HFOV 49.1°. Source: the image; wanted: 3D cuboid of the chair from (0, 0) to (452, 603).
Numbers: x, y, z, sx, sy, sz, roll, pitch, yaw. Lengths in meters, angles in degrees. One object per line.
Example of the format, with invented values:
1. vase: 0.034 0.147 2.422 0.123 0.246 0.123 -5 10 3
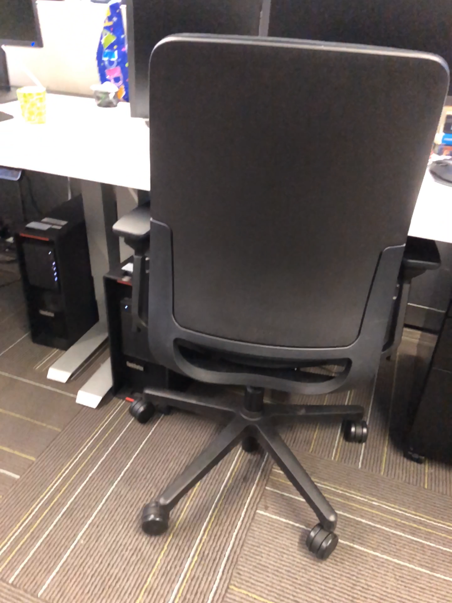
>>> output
1. chair: 0.027 -0.014 1.039 0.780 1.014 0.663 13 32 16
